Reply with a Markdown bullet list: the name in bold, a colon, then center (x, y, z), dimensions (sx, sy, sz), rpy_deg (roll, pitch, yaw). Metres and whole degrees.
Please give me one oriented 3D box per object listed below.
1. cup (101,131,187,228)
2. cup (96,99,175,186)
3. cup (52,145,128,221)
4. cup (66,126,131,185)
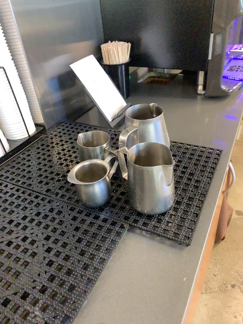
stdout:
- **cup**: center (0.042, 0.028, 0.458), dimensions (0.120, 0.119, 0.080), rpy_deg (21, 44, 32)
- **cup**: center (0.036, -0.050, 0.557), dimensions (0.100, 0.119, 0.140), rpy_deg (24, 45, 35)
- **cup**: center (-0.053, 0.034, 0.458), dimensions (0.070, 0.070, 0.110), rpy_deg (25, 46, 36)
- **cup**: center (-0.048, -0.017, 0.528), dimensions (0.110, 0.070, 0.070), rpy_deg (22, 44, 33)
